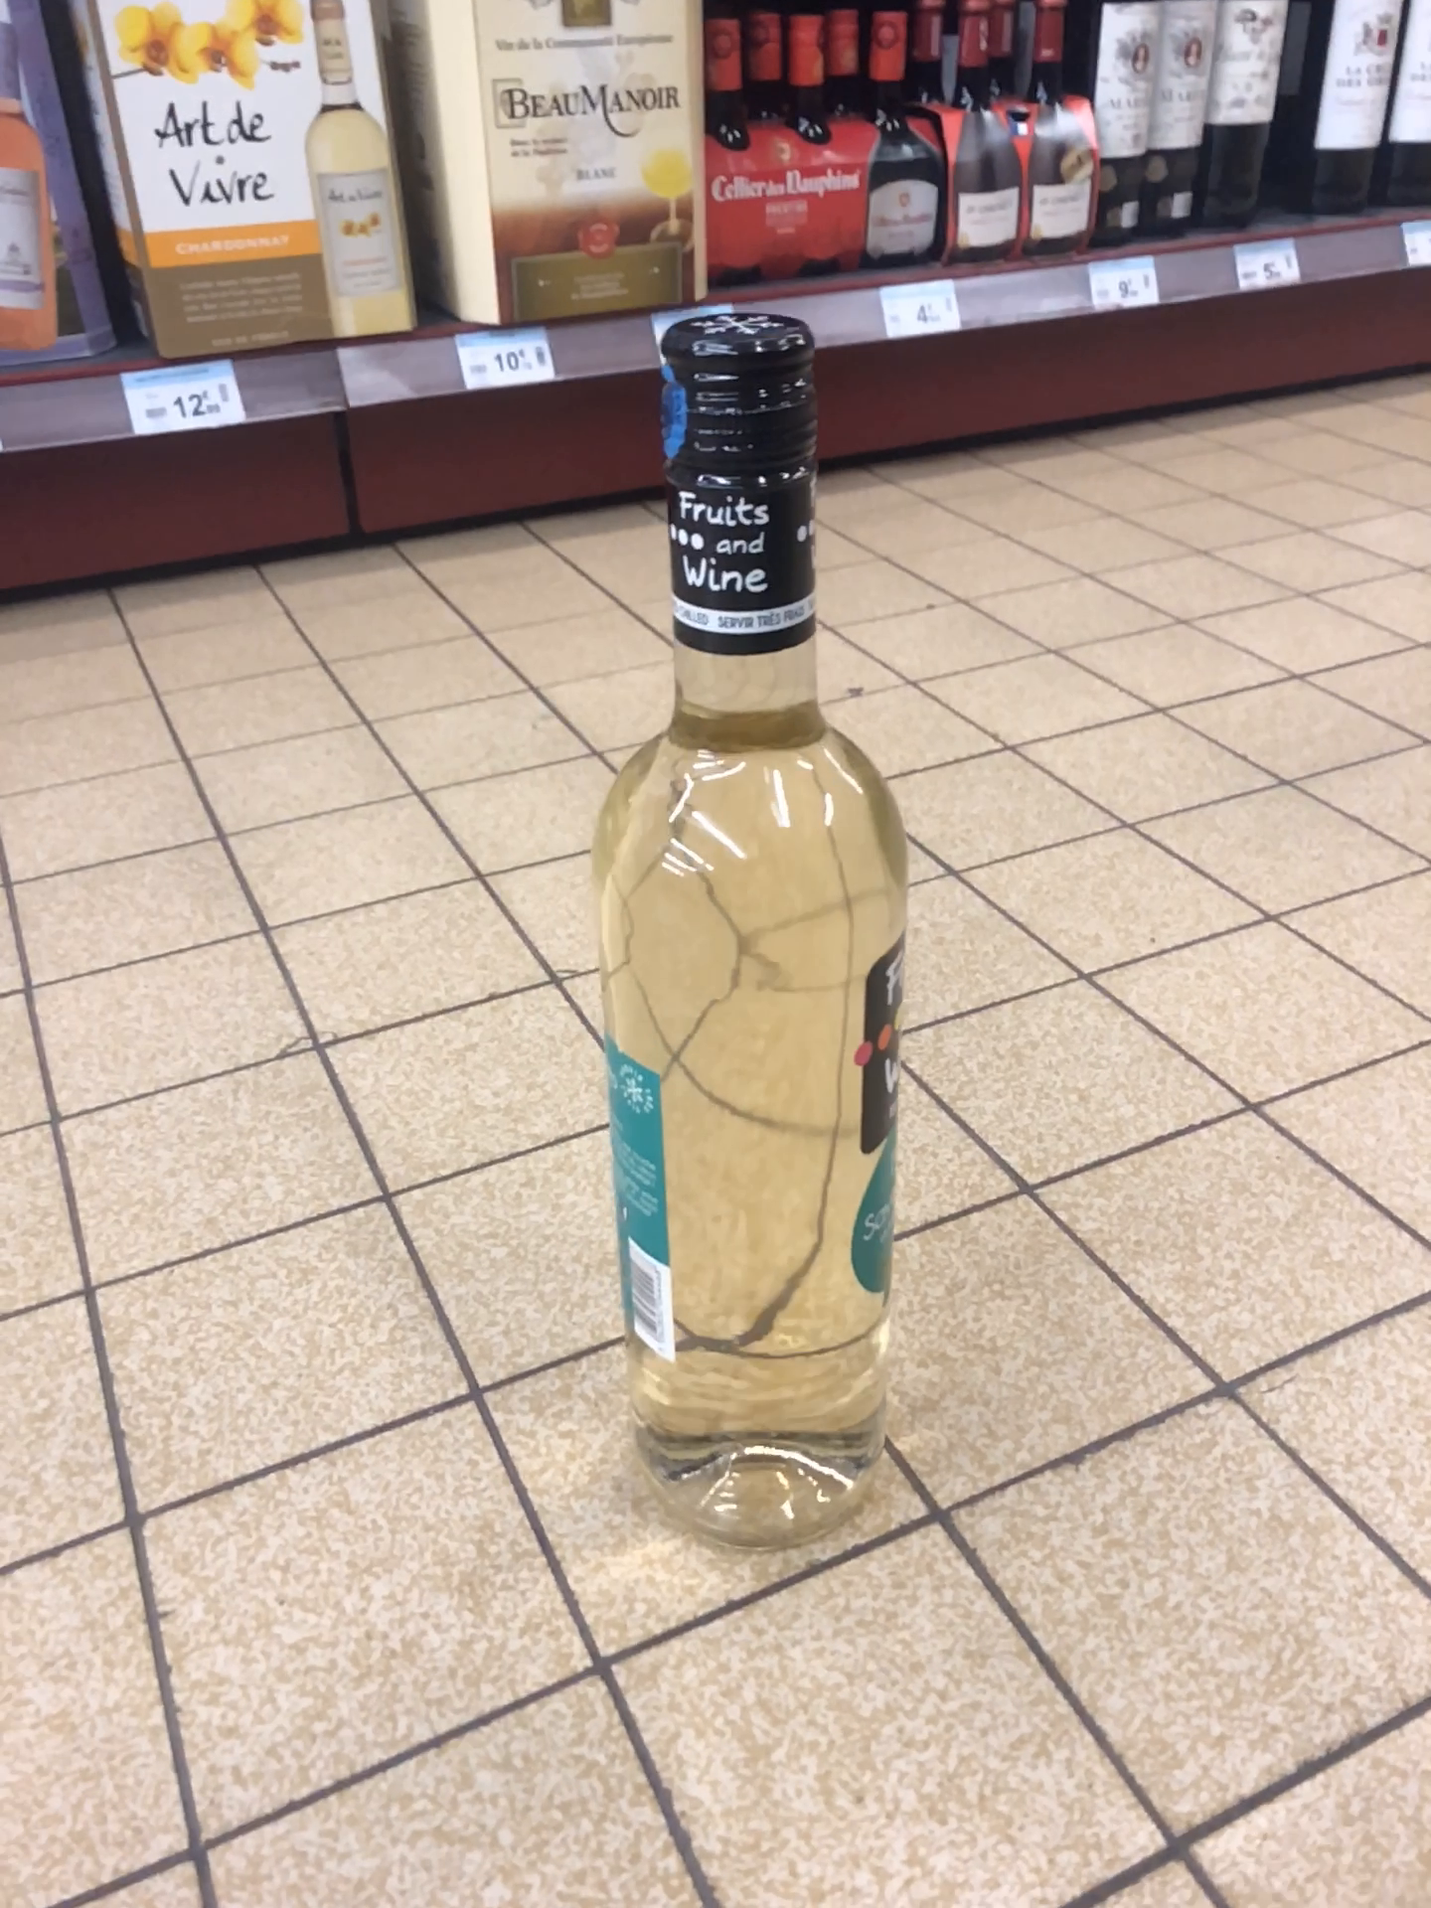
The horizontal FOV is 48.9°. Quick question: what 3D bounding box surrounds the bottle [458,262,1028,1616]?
[{"bbox_3d":[0.002,0.010,0.366,0.090,0.298,0.101,-5,32,-6],"label":"bottle"}]
